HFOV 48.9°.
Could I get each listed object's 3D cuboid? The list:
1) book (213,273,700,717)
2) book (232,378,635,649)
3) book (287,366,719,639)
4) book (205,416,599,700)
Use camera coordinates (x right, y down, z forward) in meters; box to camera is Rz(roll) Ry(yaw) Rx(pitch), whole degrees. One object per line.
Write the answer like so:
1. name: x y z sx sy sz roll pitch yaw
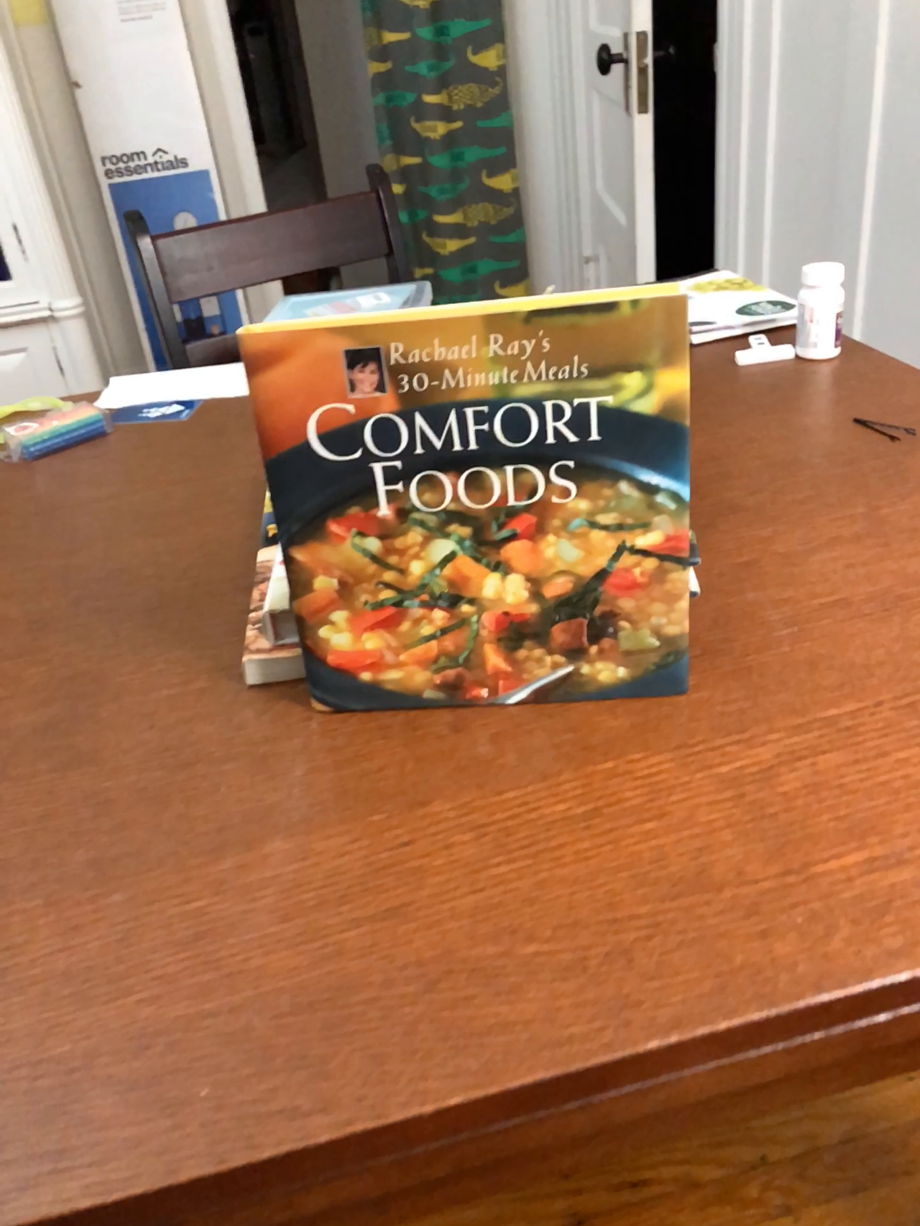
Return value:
1. book: 0.006 -0.047 0.497 0.210 0.209 0.030 -3 29 6
2. book: -0.022 -0.081 0.676 0.220 0.030 0.282 -7 32 0
3. book: 0.025 -0.084 0.640 0.220 0.030 0.282 -5 32 5
4. book: -0.045 -0.053 0.689 0.220 0.030 0.282 -9 32 -2
